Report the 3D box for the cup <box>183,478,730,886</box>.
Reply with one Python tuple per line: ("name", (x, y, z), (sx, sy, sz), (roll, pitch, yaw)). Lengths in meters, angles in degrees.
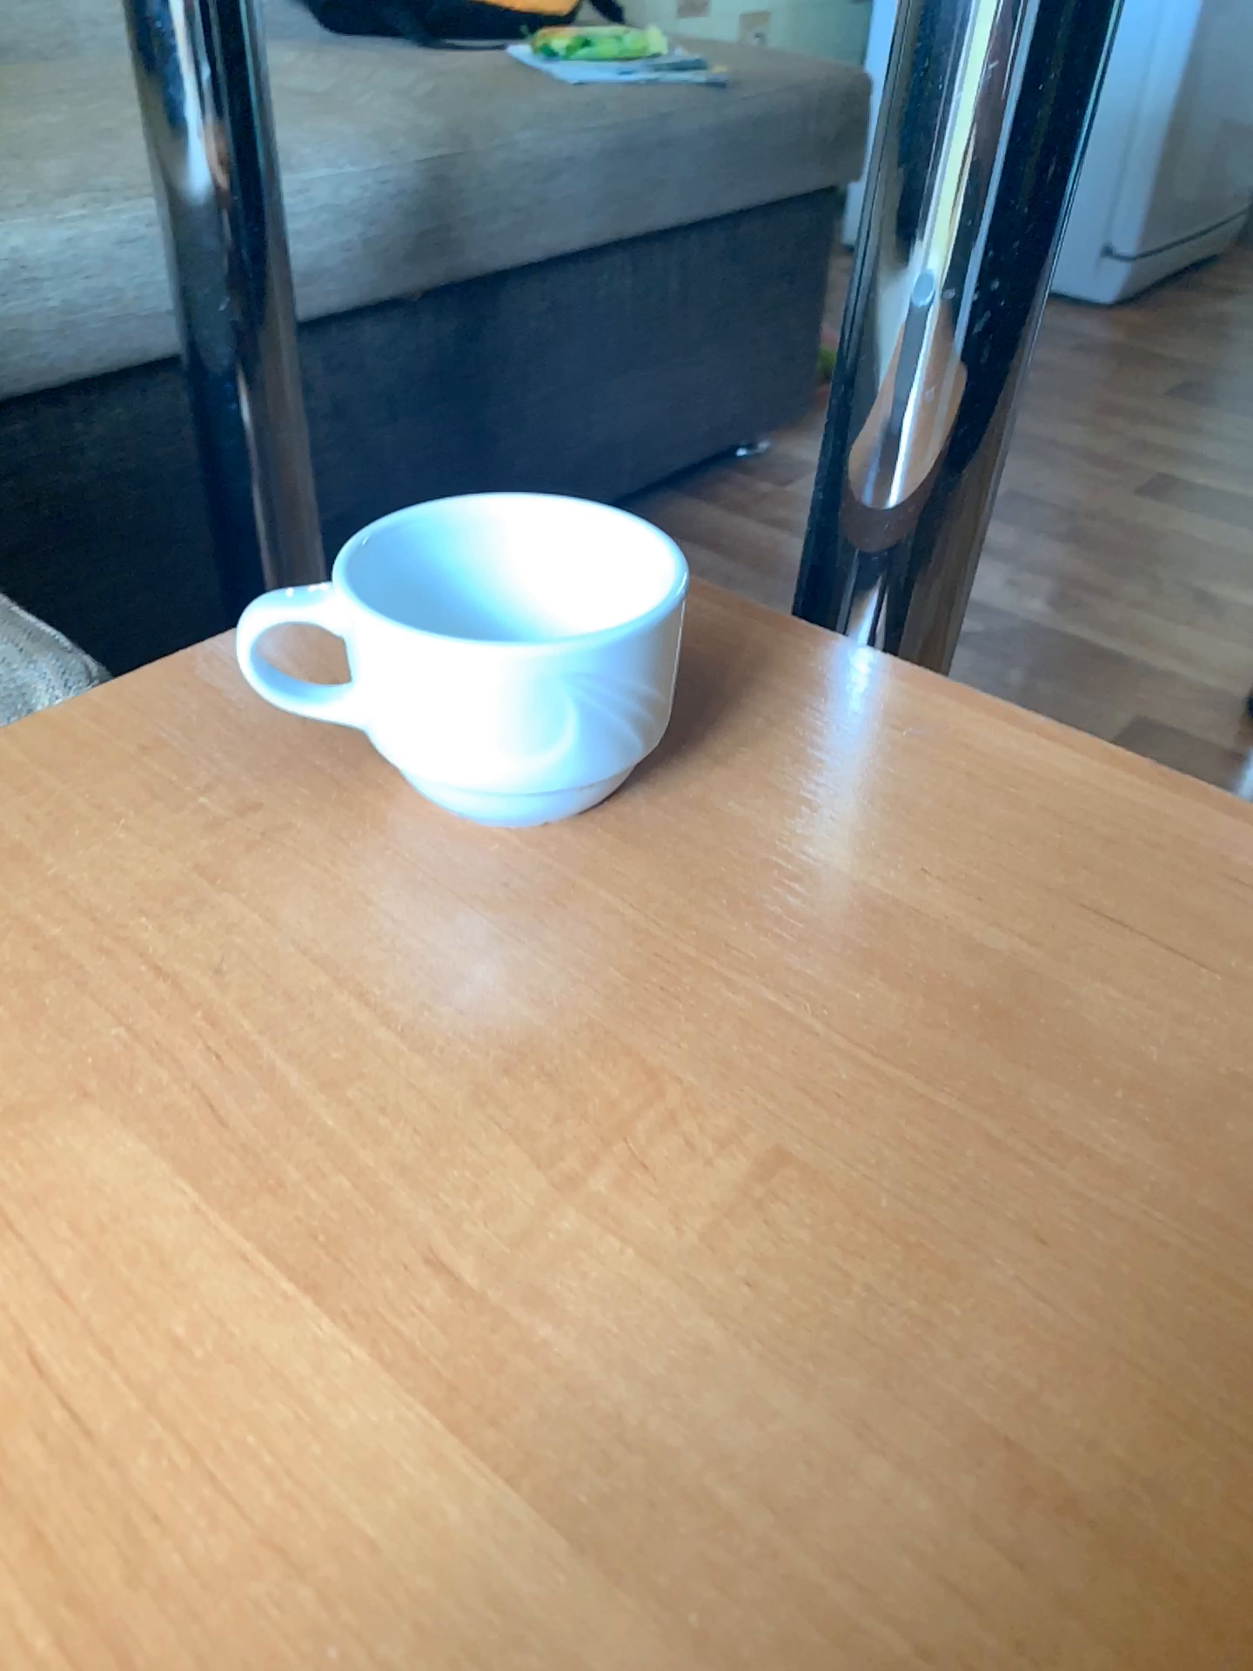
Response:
("cup", (-0.038, -0.038, 0.284), (0.100, 0.050, 0.080), (-4, 38, -9))
